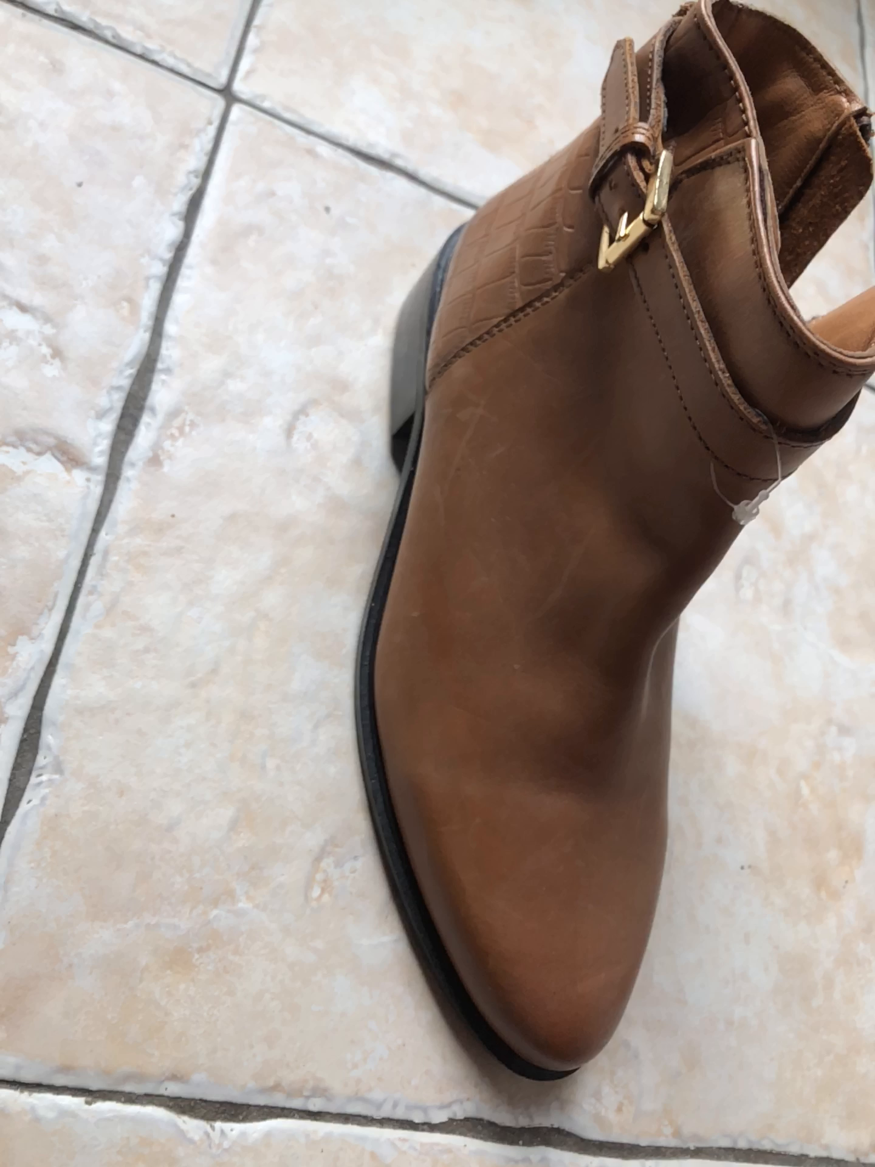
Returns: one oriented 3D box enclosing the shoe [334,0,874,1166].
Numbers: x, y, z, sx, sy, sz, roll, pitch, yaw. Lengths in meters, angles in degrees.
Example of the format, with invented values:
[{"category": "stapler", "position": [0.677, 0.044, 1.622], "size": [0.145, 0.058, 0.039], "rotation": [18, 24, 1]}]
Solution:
[{"category": "shoe", "position": [0.048, -0.019, 0.268], "size": [0.090, 0.179, 0.301], "rotation": [9, 67, -21]}]
